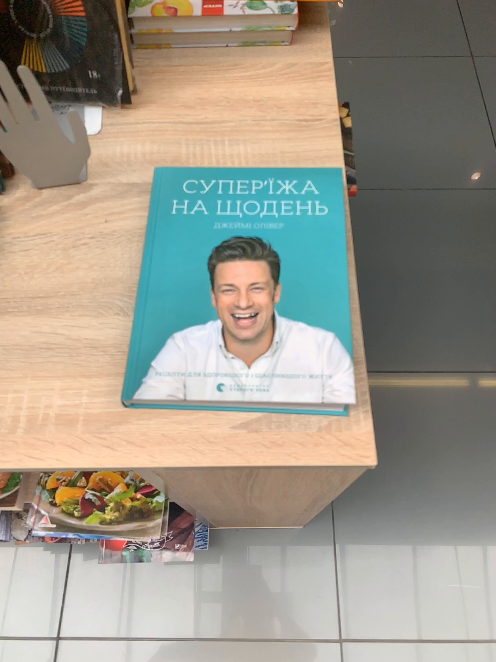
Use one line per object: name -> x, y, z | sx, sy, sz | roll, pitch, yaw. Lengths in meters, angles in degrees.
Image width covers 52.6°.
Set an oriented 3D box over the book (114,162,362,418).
book -> -0.004, -0.051, 0.472 | 0.200, 0.030, 0.255 | 1, 65, 3
